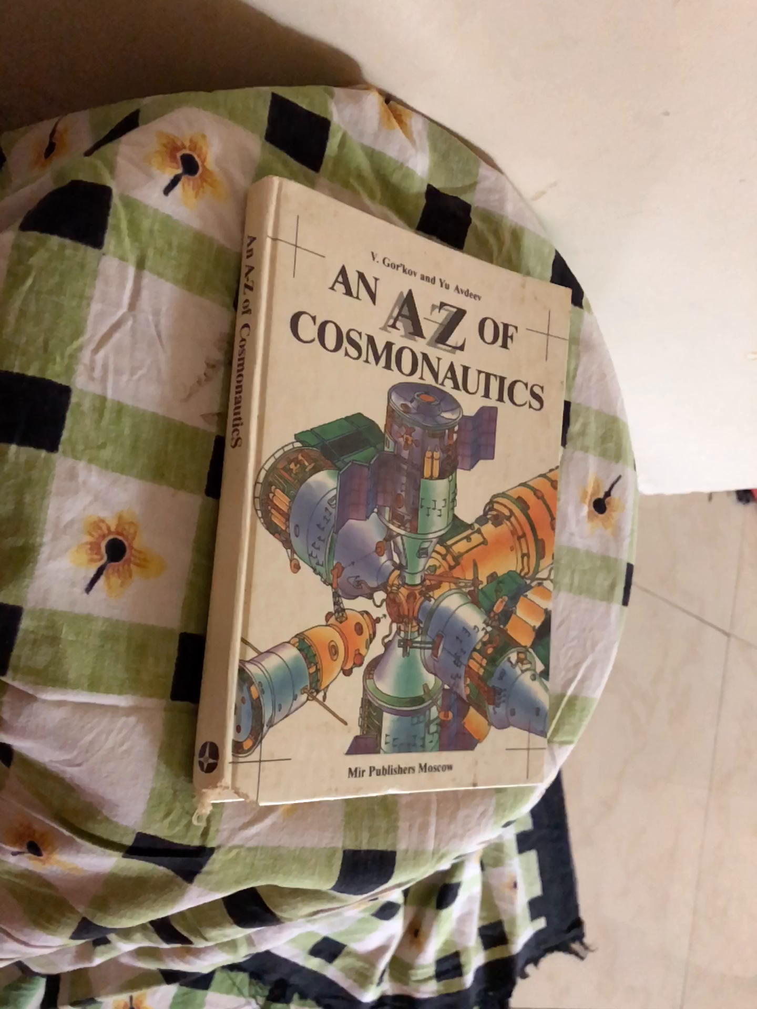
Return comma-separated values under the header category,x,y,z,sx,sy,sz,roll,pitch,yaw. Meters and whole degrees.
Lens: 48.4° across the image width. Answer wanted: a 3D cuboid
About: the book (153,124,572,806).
category,x,y,z,sx,sy,sz,roll,pitch,yaw
book,0.005,-0.008,0.404,0.181,0.060,0.270,11,79,-37
